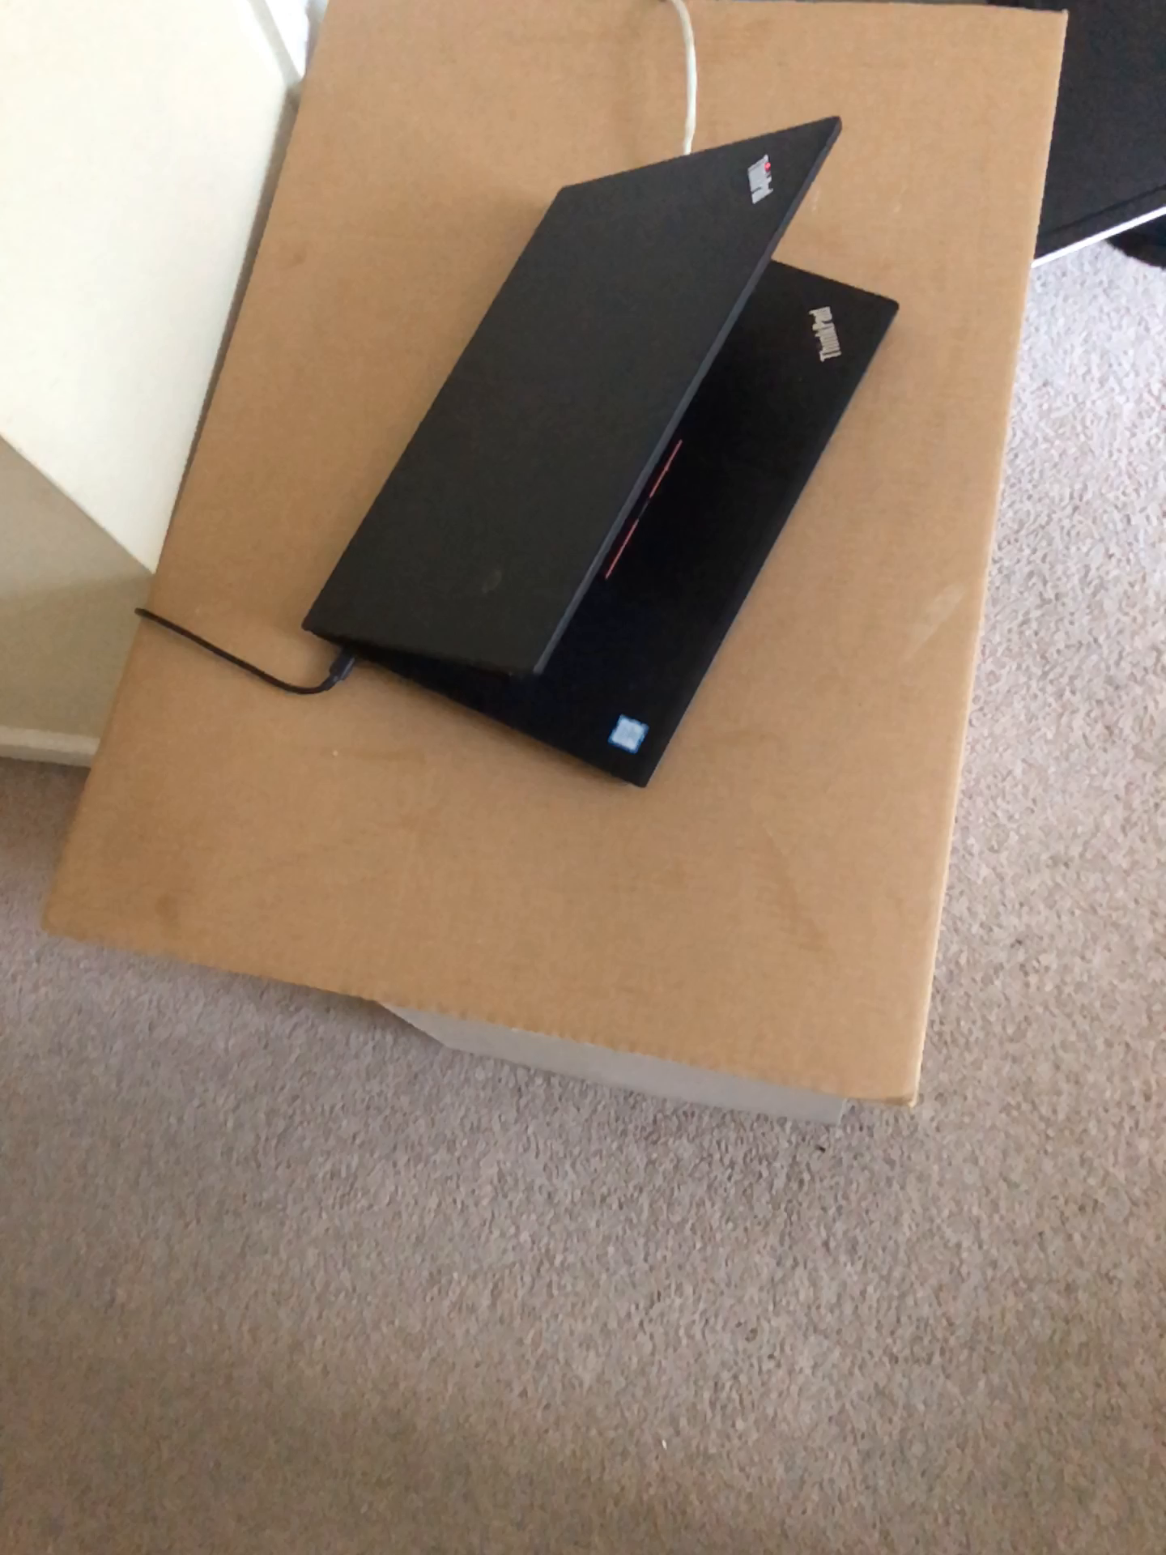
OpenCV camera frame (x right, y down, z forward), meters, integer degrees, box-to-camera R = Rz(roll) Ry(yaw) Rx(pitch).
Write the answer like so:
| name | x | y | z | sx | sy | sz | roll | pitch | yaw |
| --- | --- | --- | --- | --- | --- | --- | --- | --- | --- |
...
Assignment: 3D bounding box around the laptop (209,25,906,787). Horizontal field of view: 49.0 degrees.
| name | x | y | z | sx | sy | sz | roll | pitch | yaw |
| --- | --- | --- | --- | --- | --- | --- | --- | --- | --- |
| laptop | -0.002 | -0.207 | 0.712 | 0.231 | 0.140 | 0.334 | 25 | 79 | 17 |
